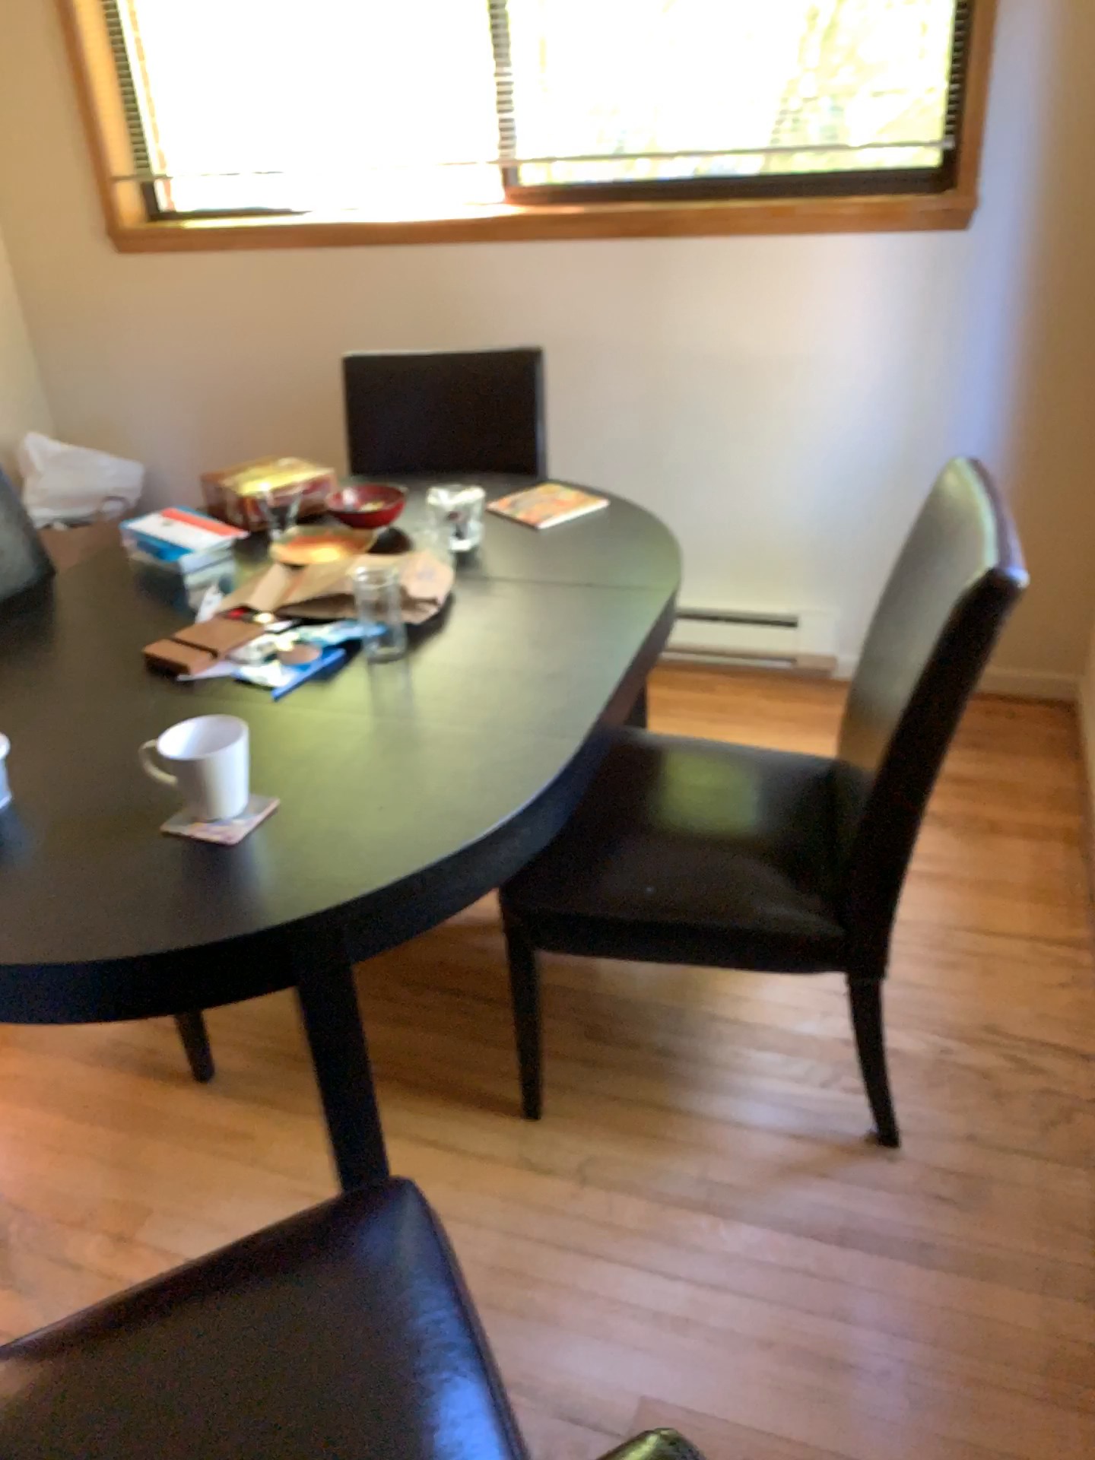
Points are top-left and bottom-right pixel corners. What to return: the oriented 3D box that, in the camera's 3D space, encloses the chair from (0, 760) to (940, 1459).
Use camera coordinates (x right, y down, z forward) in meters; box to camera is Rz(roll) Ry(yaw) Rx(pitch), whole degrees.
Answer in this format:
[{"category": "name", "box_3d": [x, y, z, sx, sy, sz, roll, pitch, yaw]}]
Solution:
[{"category": "chair", "box_3d": [-0.225, 0.720, 0.875, 0.620, 1.084, 0.654, -17, 32, -22]}]
